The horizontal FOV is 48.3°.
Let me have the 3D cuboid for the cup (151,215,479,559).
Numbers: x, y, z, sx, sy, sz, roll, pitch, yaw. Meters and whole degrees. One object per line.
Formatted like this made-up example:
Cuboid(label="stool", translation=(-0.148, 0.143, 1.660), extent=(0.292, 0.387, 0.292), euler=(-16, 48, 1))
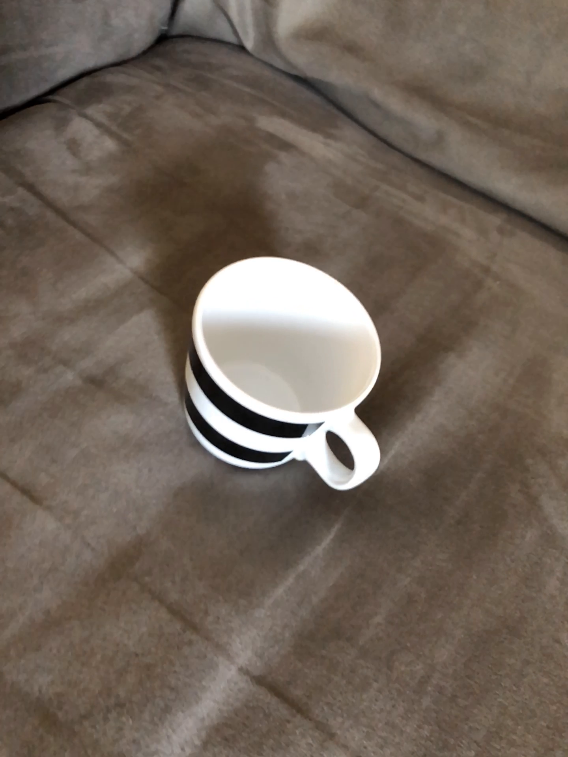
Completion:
Cuboid(label="cup", translation=(0.007, 0.003, 0.288), extent=(0.080, 0.080, 0.110), euler=(-27, 71, -30))
